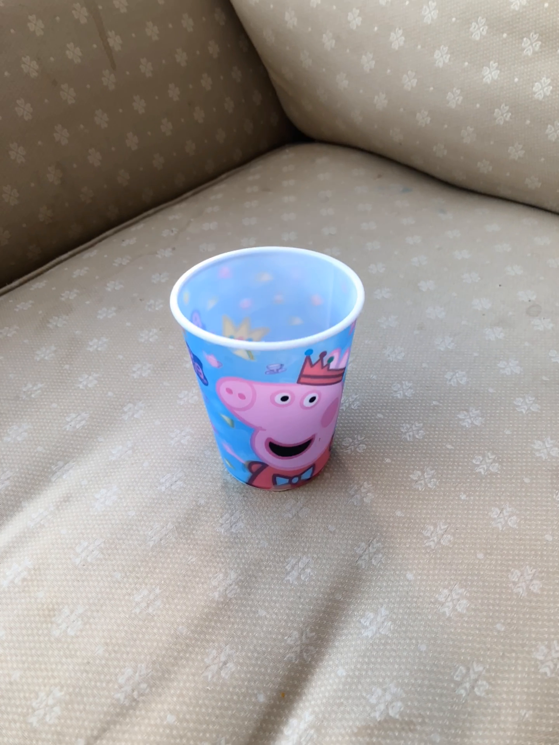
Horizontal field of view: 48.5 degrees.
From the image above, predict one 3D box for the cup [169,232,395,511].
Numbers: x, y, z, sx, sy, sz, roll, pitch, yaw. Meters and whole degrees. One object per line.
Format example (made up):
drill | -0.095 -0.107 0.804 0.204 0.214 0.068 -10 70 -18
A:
cup | -0.002 -0.001 0.319 0.091 0.101 0.087 -1 43 1
